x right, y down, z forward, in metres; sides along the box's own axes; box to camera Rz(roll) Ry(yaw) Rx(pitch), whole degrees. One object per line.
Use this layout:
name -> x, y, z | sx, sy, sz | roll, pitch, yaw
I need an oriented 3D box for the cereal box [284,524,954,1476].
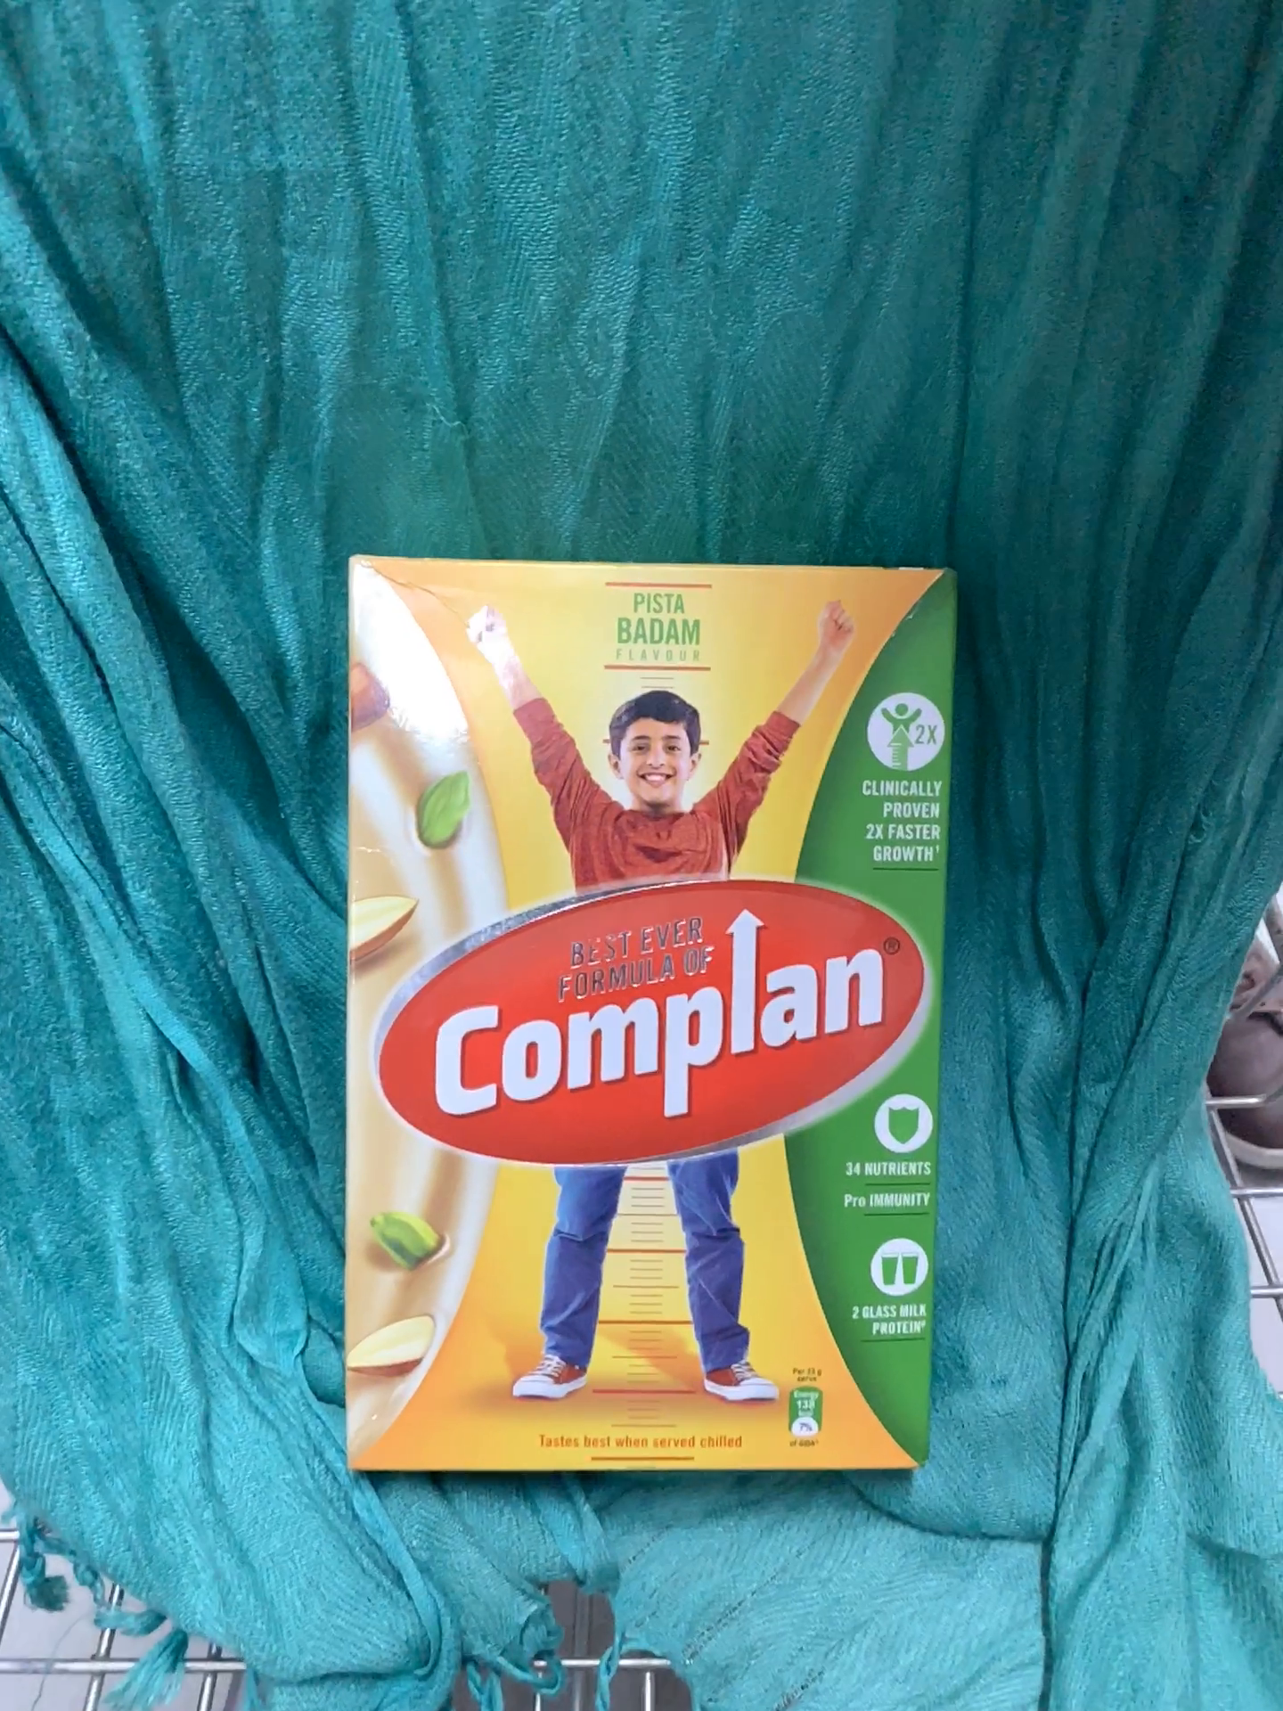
cereal box -> -0.004, 0.030, 0.309 | 0.140, 0.060, 0.200 | 0, 92, -2
